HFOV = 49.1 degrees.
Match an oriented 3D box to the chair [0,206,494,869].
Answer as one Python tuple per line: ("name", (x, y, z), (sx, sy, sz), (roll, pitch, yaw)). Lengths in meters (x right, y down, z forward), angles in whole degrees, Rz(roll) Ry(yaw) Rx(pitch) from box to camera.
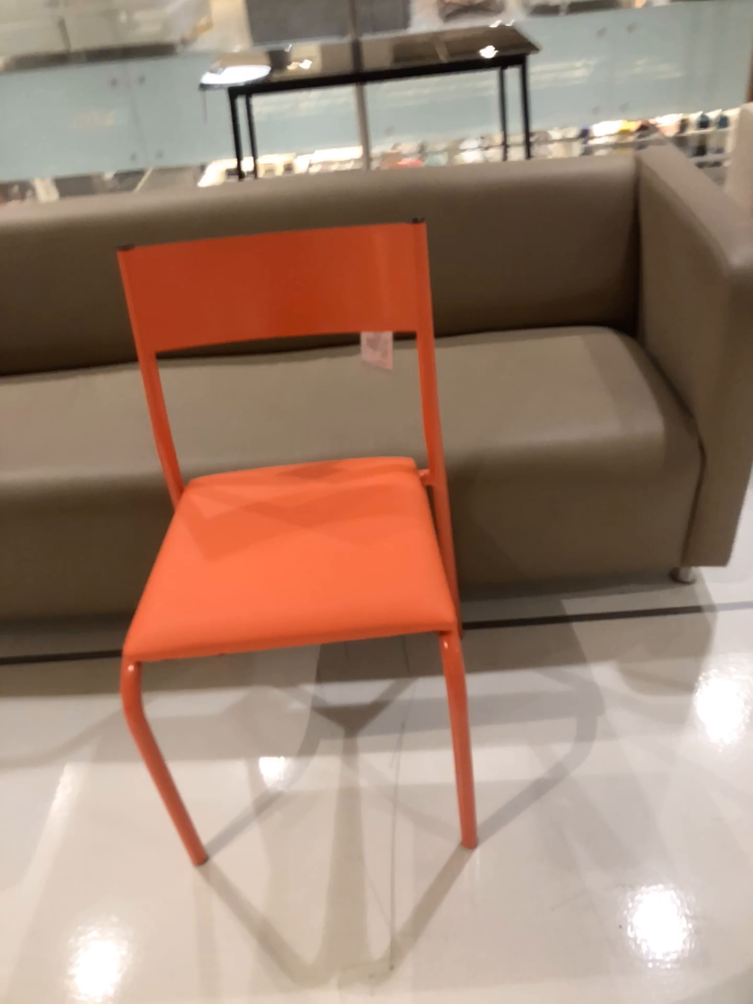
("chair", (-0.115, 0.071, 1.190), (0.500, 0.784, 0.494), (-5, 37, 3))
